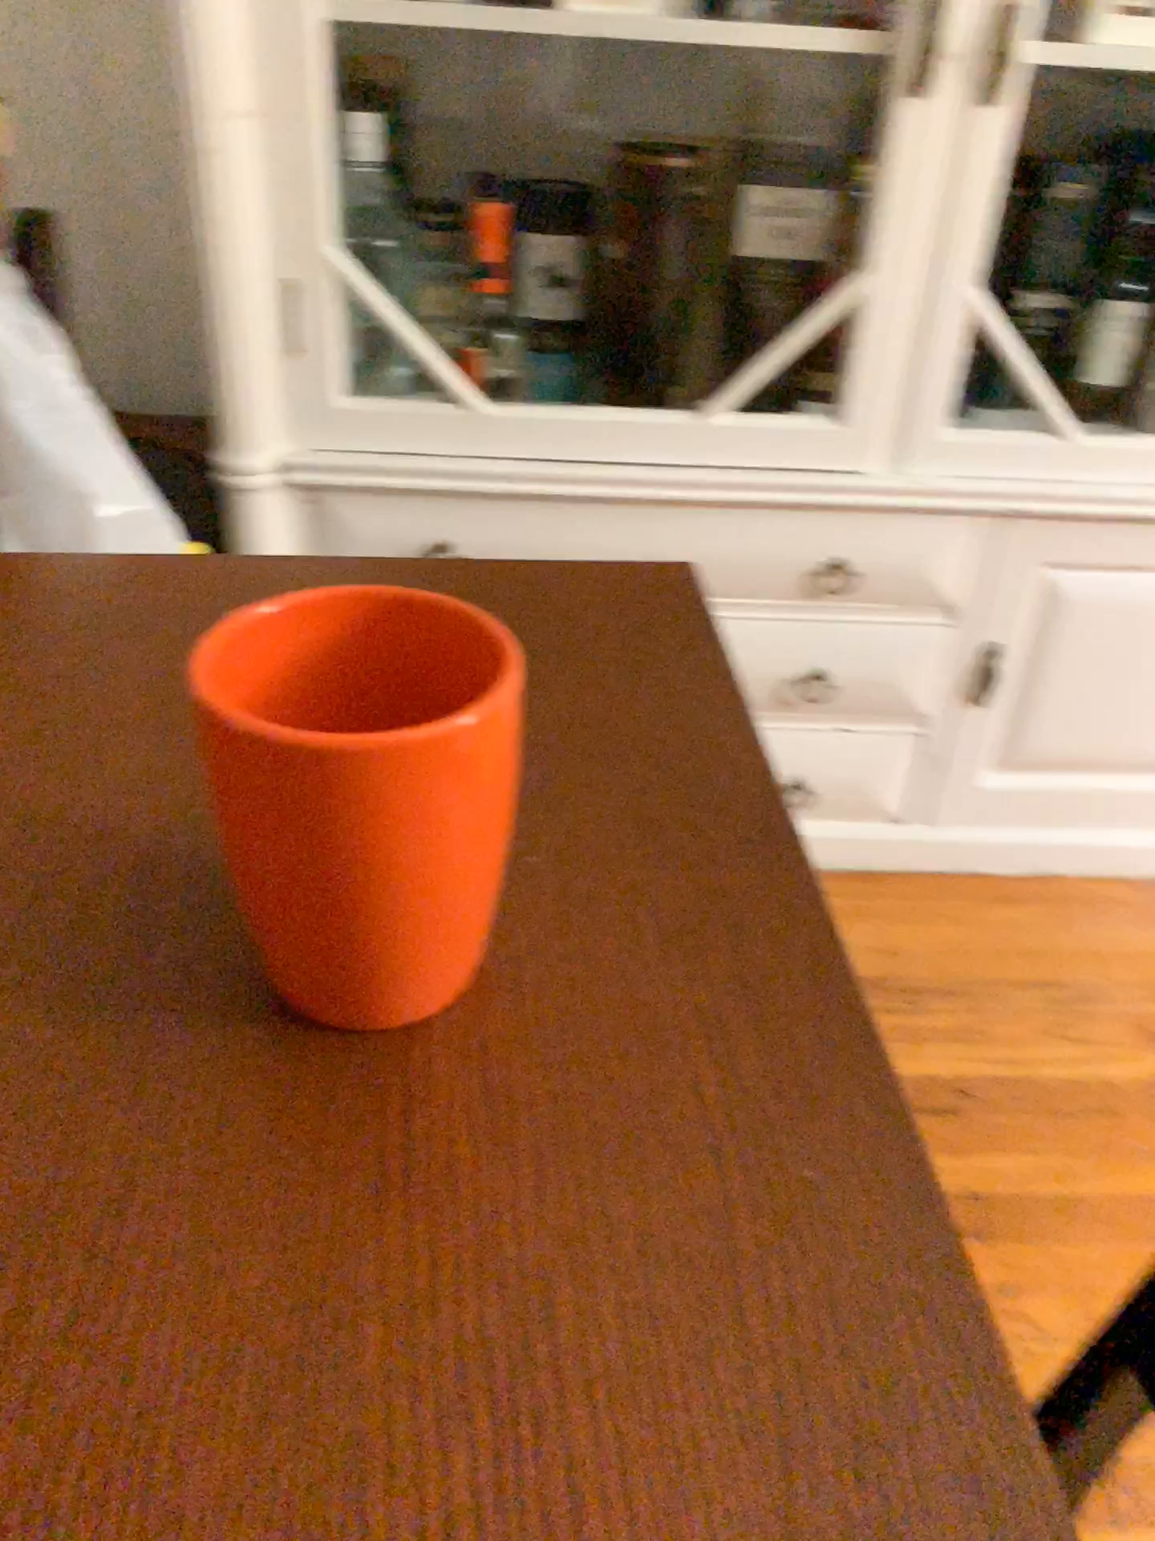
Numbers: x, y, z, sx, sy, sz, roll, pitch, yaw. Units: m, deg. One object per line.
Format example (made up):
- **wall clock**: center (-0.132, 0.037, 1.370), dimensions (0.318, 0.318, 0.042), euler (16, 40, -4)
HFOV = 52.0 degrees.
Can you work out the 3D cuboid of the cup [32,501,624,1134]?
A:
- **cup**: center (-0.072, 0.004, 0.348), dimensions (0.100, 0.109, 0.131), euler (-27, 44, -37)
